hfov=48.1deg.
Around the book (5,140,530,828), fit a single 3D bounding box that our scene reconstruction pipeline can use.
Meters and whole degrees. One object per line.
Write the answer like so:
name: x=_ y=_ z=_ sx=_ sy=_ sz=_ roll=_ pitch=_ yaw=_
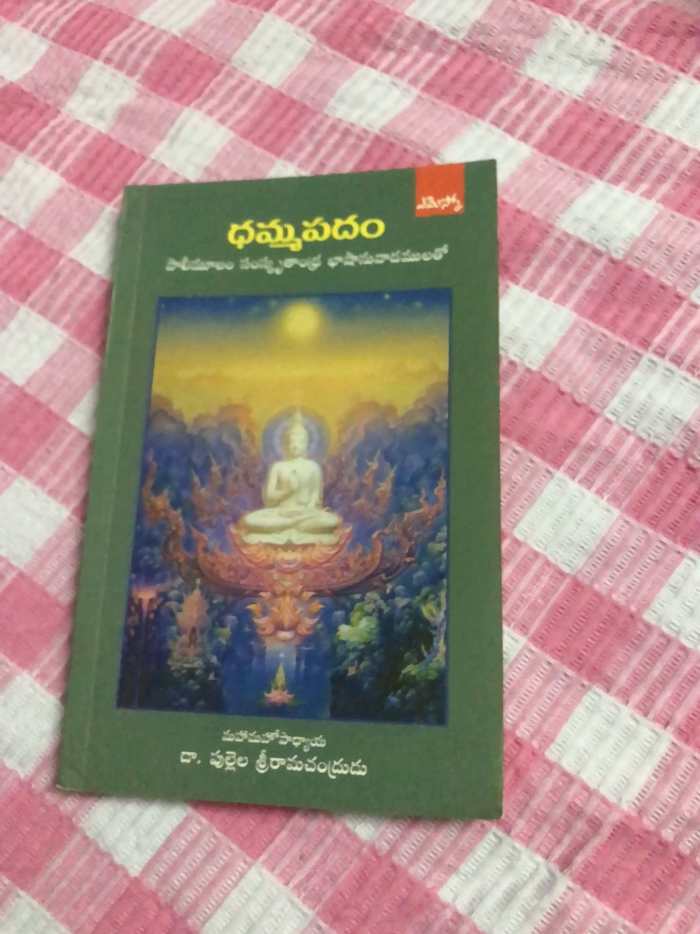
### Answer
book: x=-0.020 y=-0.004 z=0.240 sx=0.140 sy=0.020 sz=0.200 roll=0 pitch=75 yaw=8
